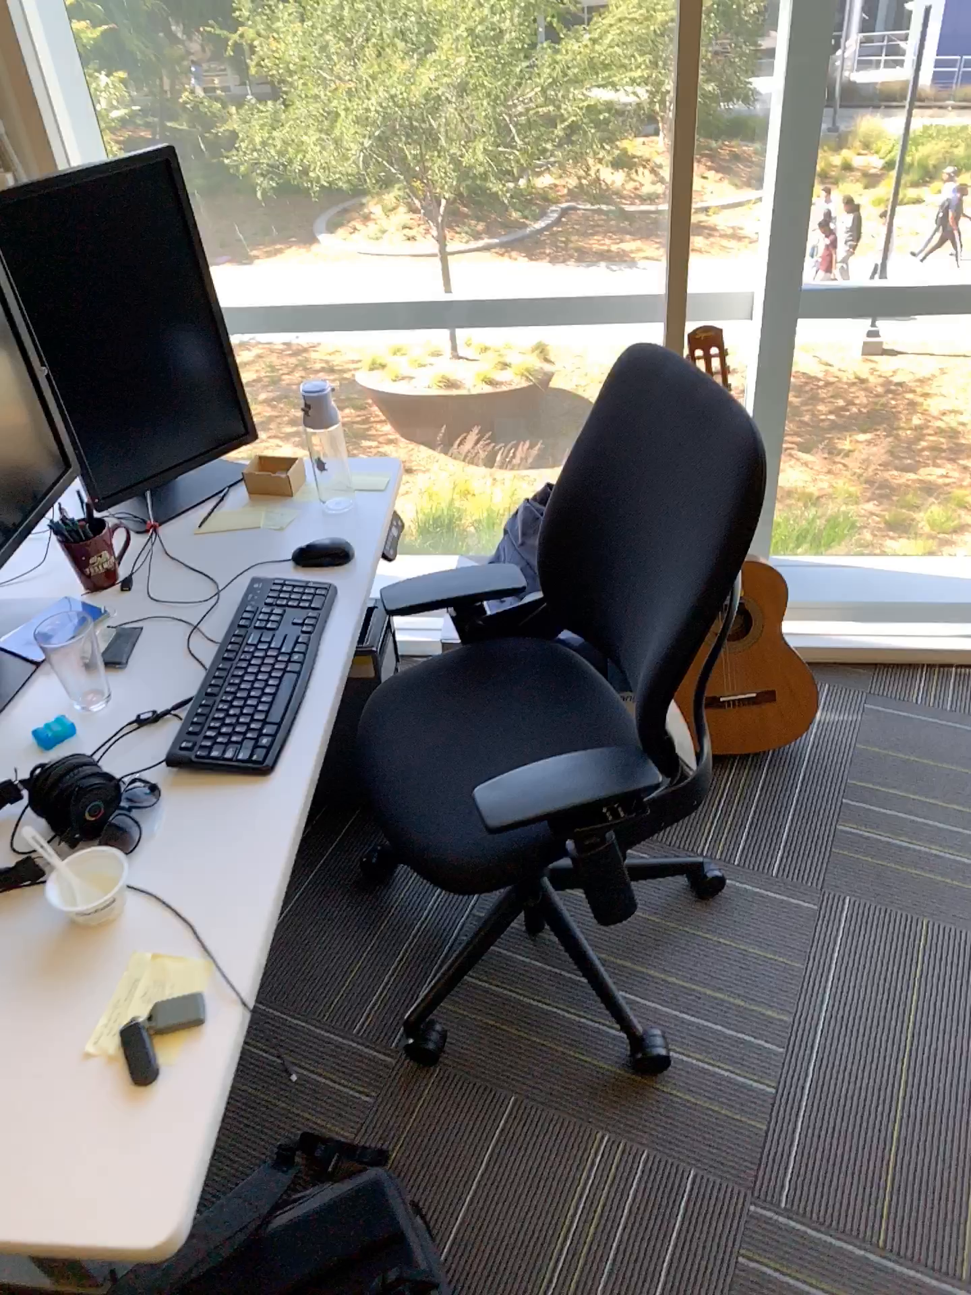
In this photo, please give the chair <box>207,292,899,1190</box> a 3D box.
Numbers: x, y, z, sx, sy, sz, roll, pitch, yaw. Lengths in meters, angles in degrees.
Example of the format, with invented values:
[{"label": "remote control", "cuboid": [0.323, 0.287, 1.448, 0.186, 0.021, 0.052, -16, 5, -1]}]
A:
[{"label": "chair", "cuboid": [0.075, 0.170, 1.710, 0.690, 1.223, 0.714, -18, 40, -15]}]
